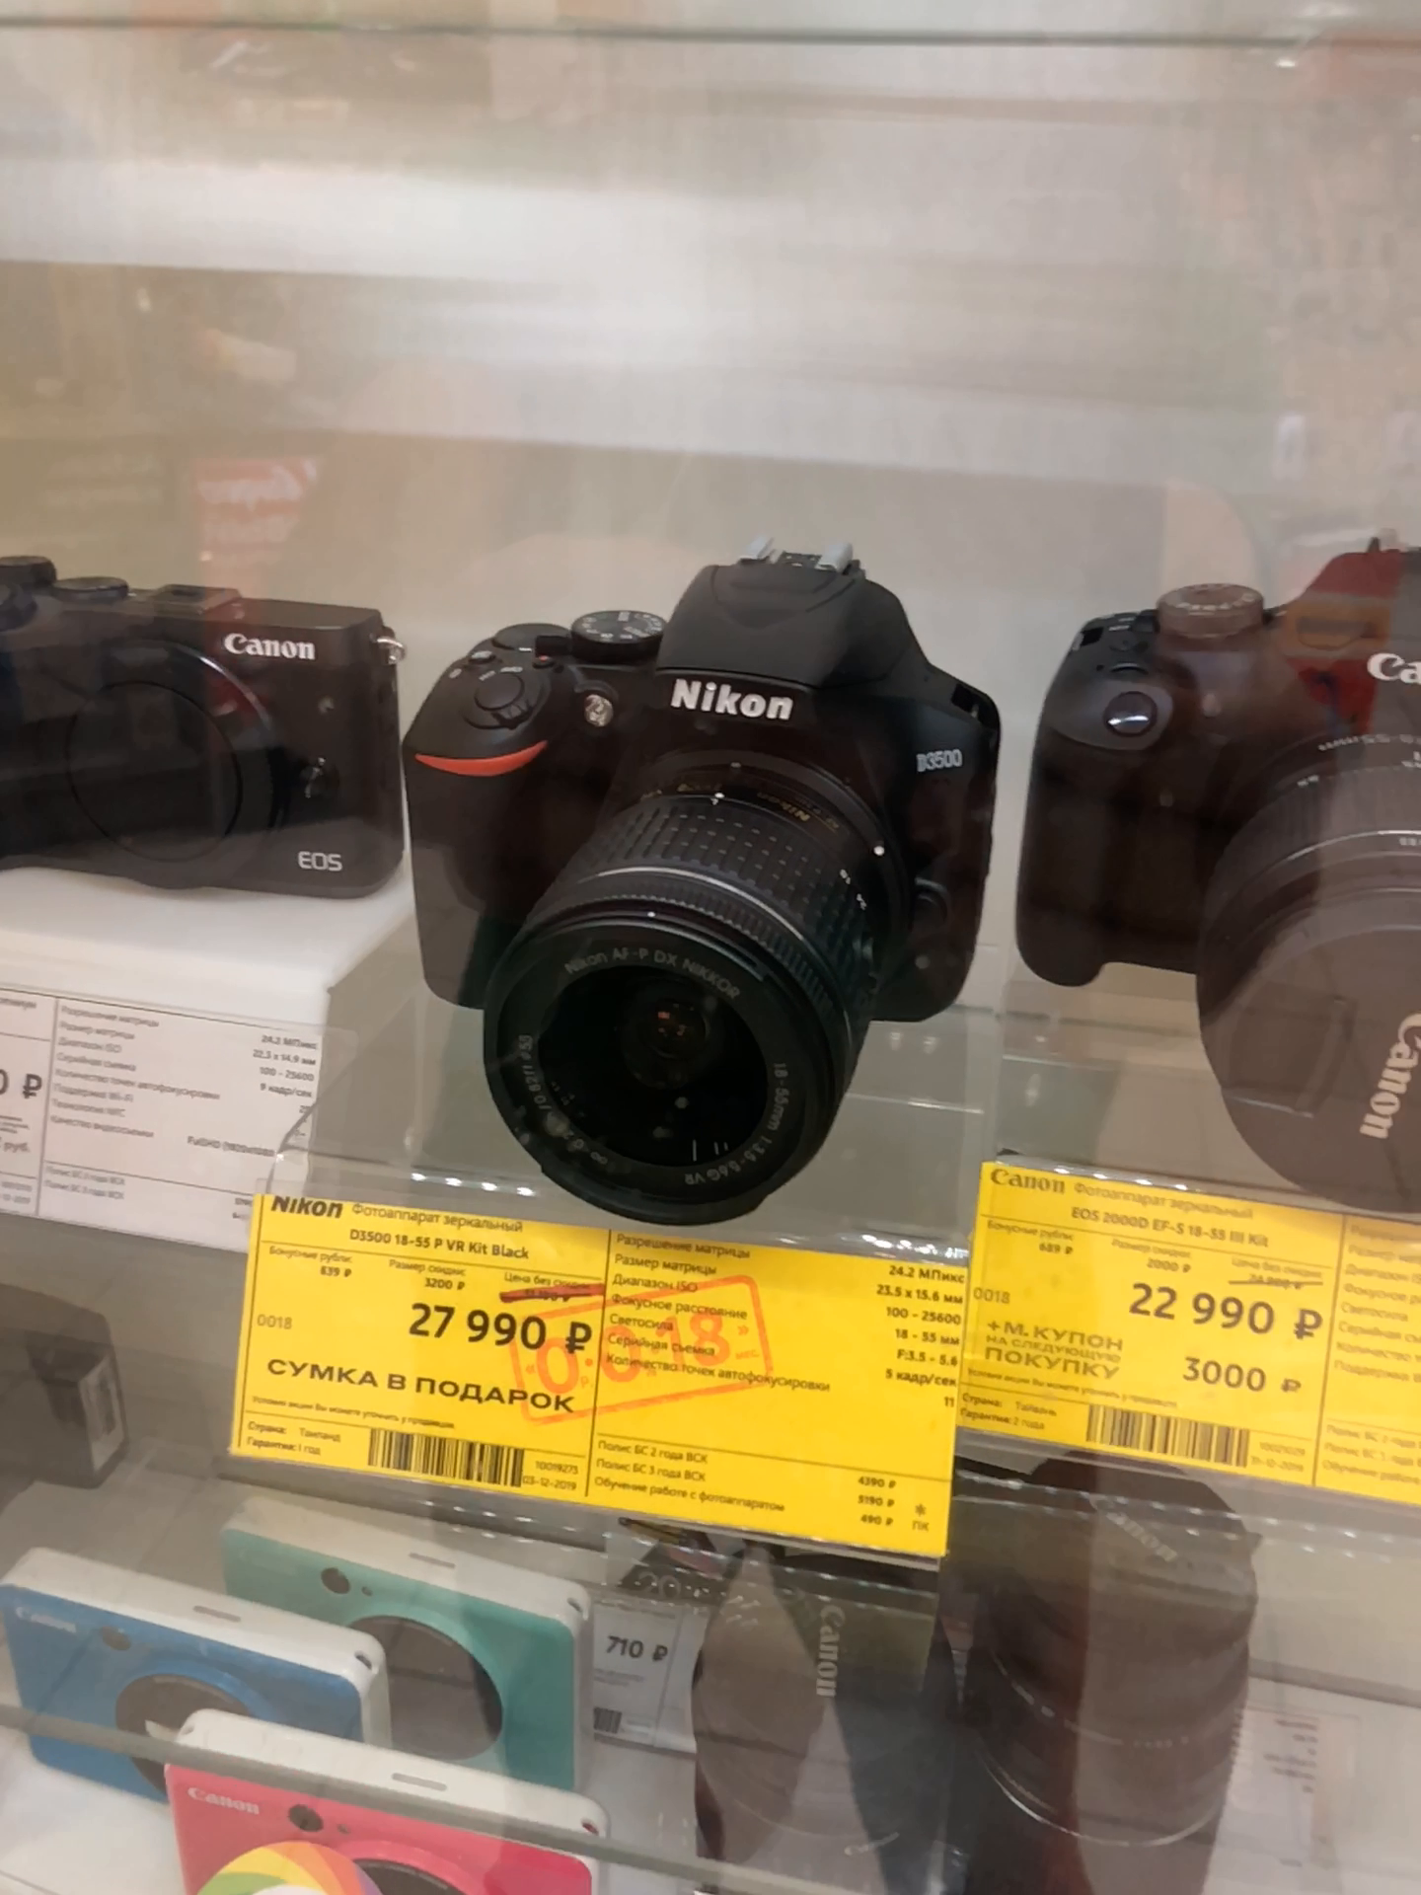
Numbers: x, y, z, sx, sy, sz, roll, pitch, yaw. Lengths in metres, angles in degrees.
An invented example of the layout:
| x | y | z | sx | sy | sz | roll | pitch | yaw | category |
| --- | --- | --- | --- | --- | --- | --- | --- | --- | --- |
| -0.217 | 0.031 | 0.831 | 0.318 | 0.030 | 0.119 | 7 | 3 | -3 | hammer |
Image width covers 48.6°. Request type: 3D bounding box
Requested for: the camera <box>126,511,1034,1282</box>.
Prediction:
| x | y | z | sx | sy | sz | roll | pitch | yaw | category |
| --- | --- | --- | --- | --- | --- | --- | --- | --- | --- |
| -0.012 | -0.021 | 0.296 | 0.130 | 0.092 | 0.121 | 7 | 25 | 11 | camera |
